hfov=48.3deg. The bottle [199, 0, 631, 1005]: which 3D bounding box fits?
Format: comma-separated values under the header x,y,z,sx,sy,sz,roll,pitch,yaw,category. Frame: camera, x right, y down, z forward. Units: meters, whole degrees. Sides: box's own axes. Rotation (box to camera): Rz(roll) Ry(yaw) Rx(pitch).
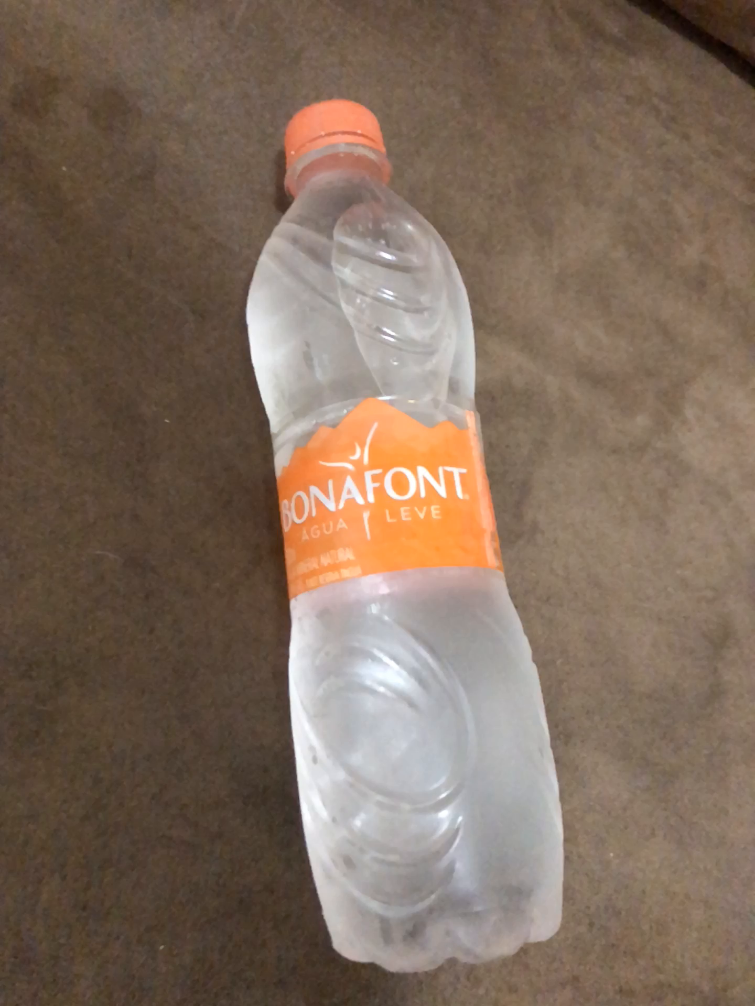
x,y,z,sx,sy,sz,roll,pitch,yaw,category
0.001,-0.010,0.228,0.070,0.050,0.240,-1,75,-25,bottle
